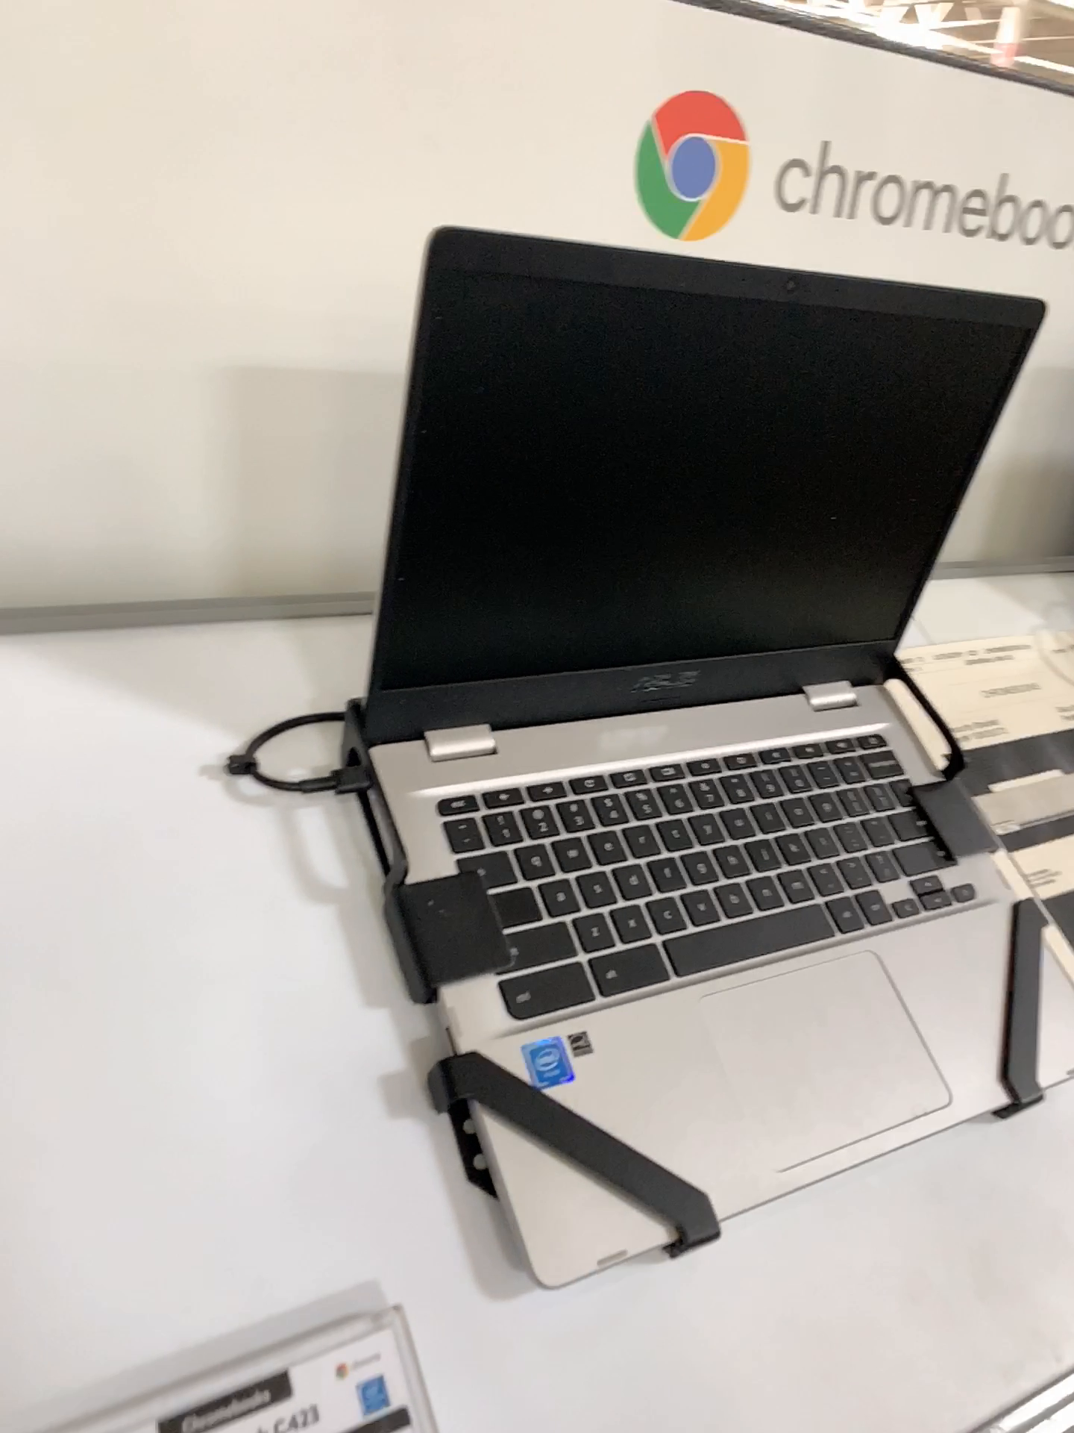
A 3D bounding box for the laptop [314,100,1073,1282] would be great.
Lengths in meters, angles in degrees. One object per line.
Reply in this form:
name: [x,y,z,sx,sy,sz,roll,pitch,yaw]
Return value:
laptop: [0.096,-0.038,0.474,0.308,0.196,0.293,-7,48,-29]
